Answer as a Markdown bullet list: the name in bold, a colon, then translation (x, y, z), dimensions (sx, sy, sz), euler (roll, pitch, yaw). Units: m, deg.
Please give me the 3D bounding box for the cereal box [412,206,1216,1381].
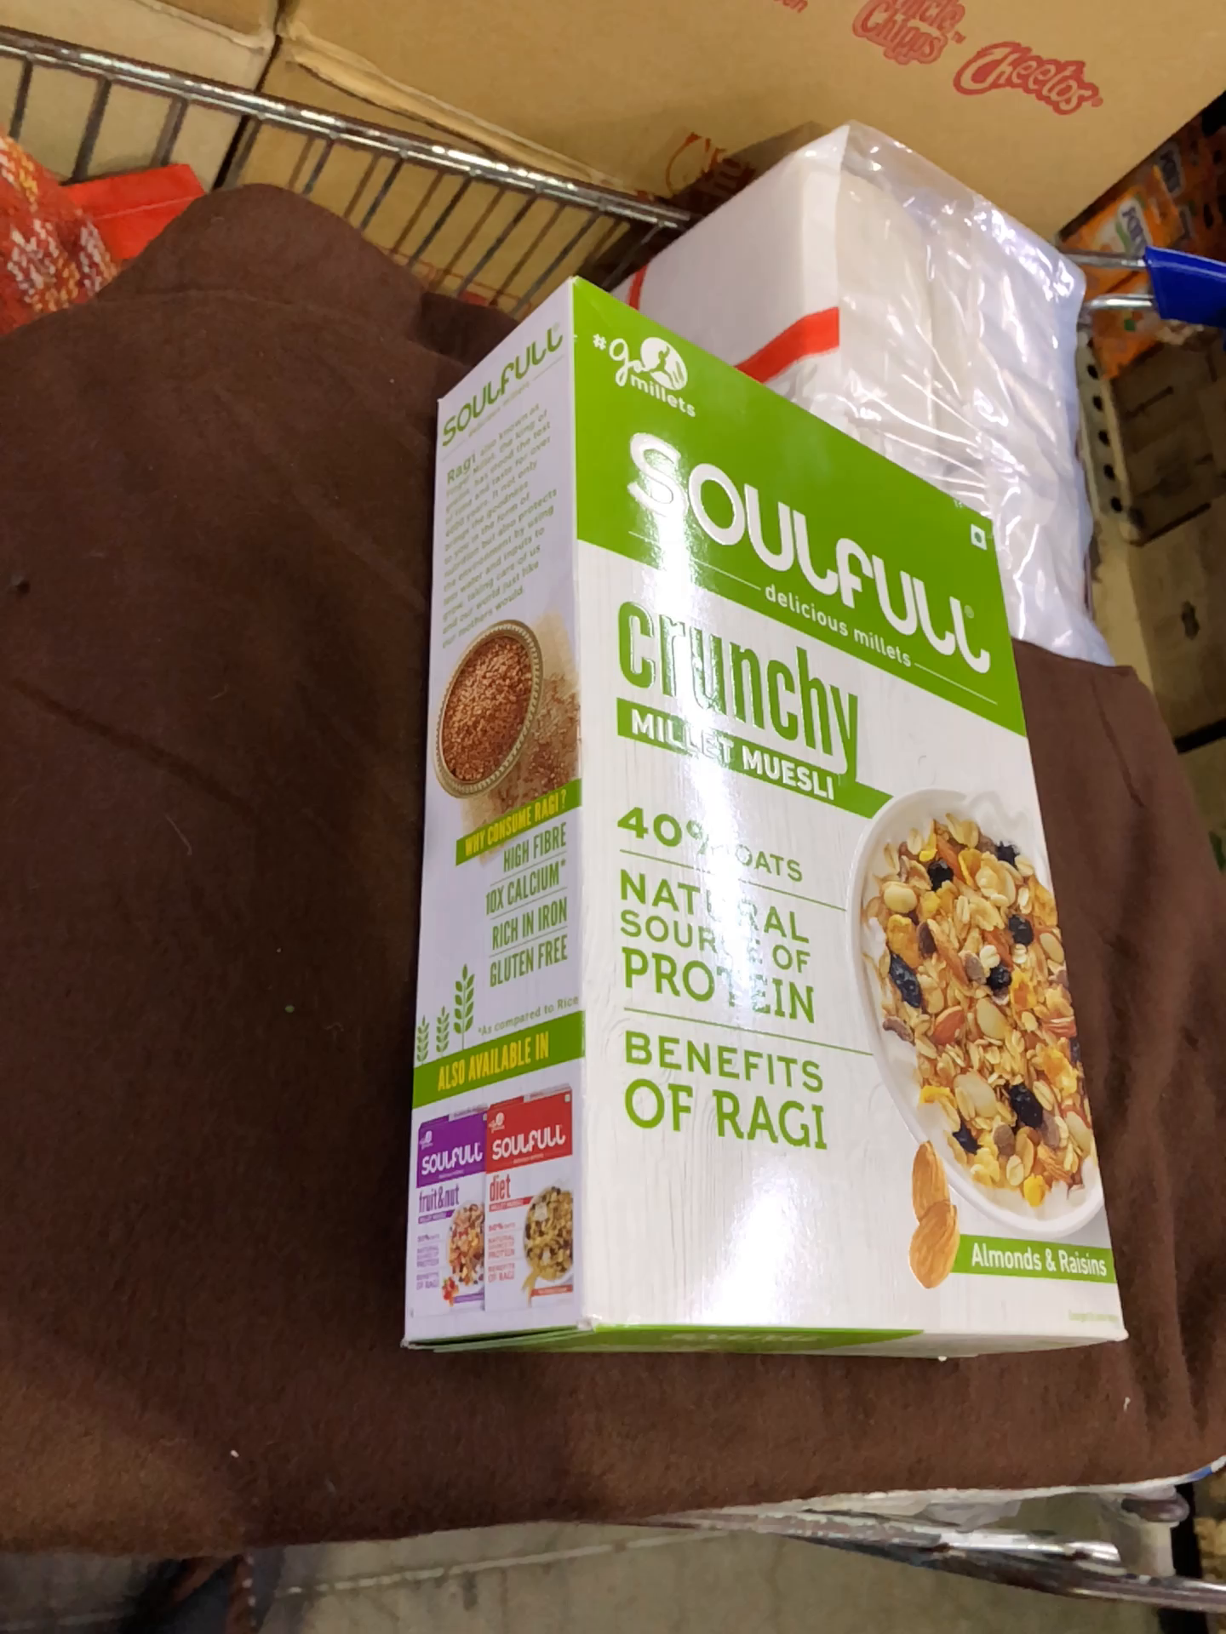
- **cereal box**: translation (0.042, 0.000, 0.319), dimensions (0.160, 0.060, 0.241), euler (16, 58, -33)
